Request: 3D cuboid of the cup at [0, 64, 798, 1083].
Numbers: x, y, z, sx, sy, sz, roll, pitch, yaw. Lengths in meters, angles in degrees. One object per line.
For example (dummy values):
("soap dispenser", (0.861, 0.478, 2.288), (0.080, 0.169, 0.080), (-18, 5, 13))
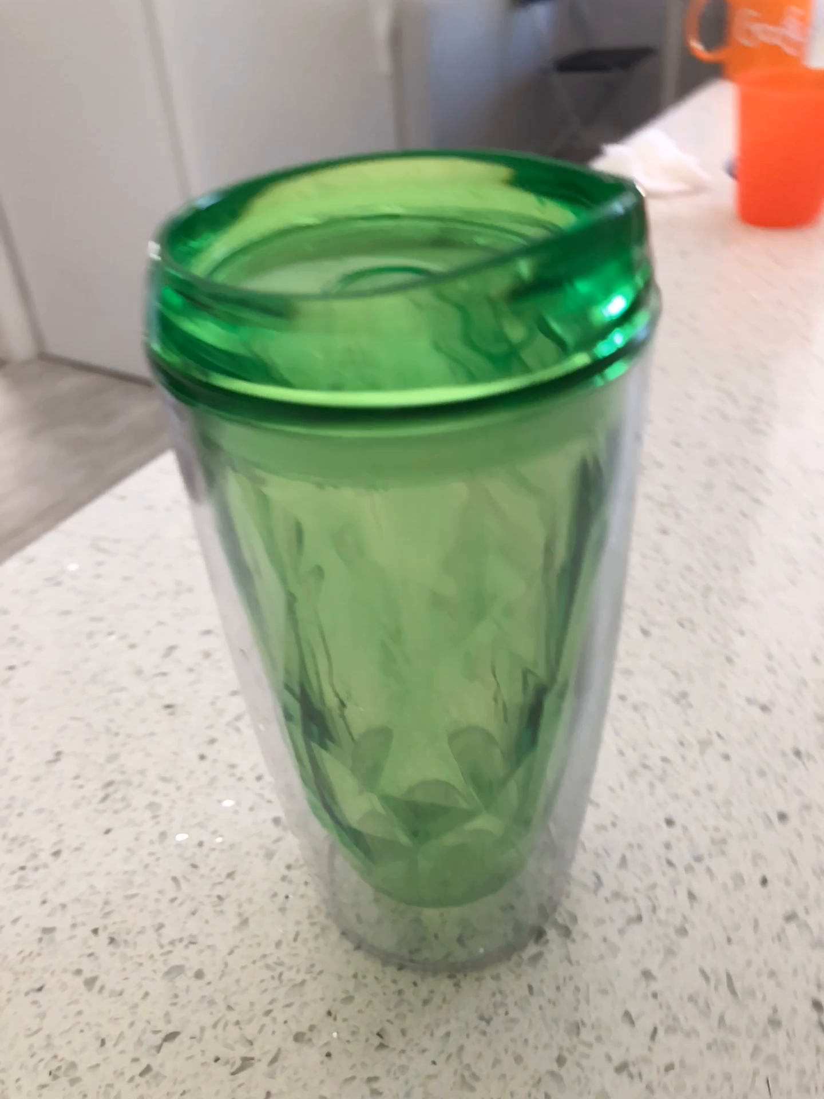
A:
("cup", (-0.001, 0.002, 0.186), (0.090, 0.159, 0.090), (-3, 35, 2))
